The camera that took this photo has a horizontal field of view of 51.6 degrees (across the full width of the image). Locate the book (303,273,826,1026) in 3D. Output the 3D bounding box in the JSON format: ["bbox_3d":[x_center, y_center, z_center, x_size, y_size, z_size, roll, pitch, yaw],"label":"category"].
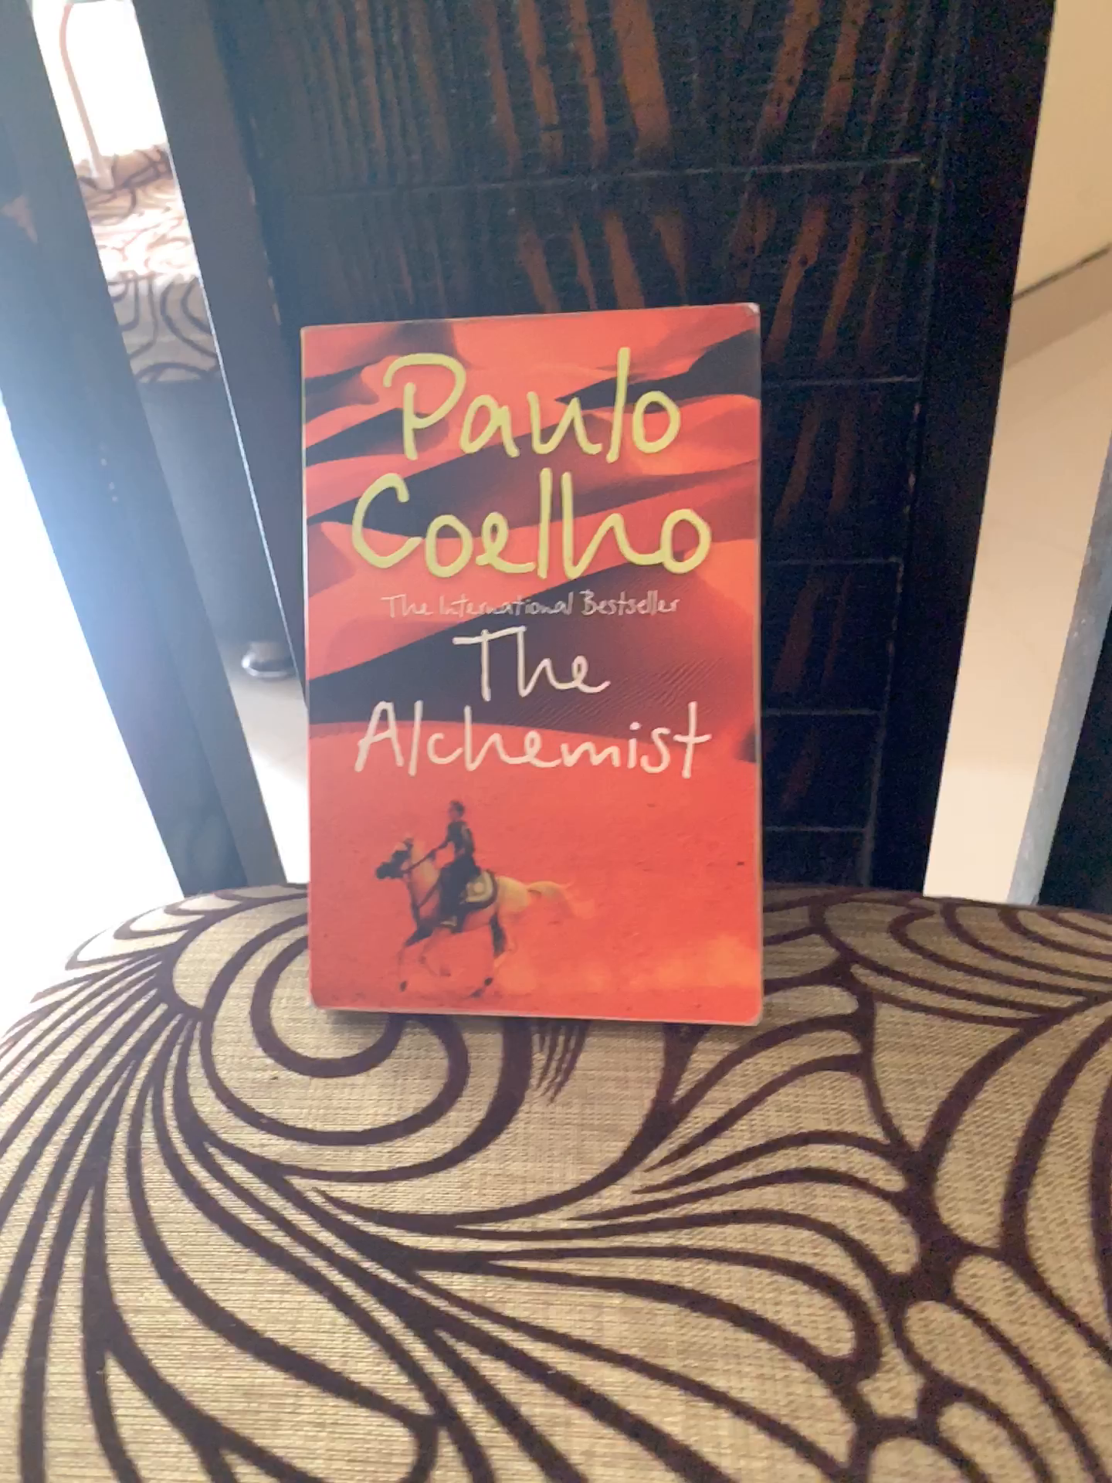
[{"bbox_3d":[0.003,-0.027,0.329,0.140,0.200,0.030,1,-3,8],"label":"book"}]
